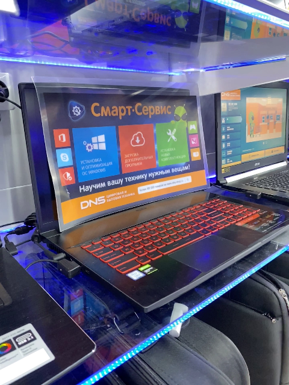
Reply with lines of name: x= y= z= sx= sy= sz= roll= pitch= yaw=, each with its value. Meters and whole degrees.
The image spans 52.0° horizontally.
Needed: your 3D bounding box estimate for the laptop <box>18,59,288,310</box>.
laptop: x=0.055 y=-0.060 z=0.506 sx=0.405 sy=0.237 sz=0.287 roll=-13 pitch=20 yaw=-40
